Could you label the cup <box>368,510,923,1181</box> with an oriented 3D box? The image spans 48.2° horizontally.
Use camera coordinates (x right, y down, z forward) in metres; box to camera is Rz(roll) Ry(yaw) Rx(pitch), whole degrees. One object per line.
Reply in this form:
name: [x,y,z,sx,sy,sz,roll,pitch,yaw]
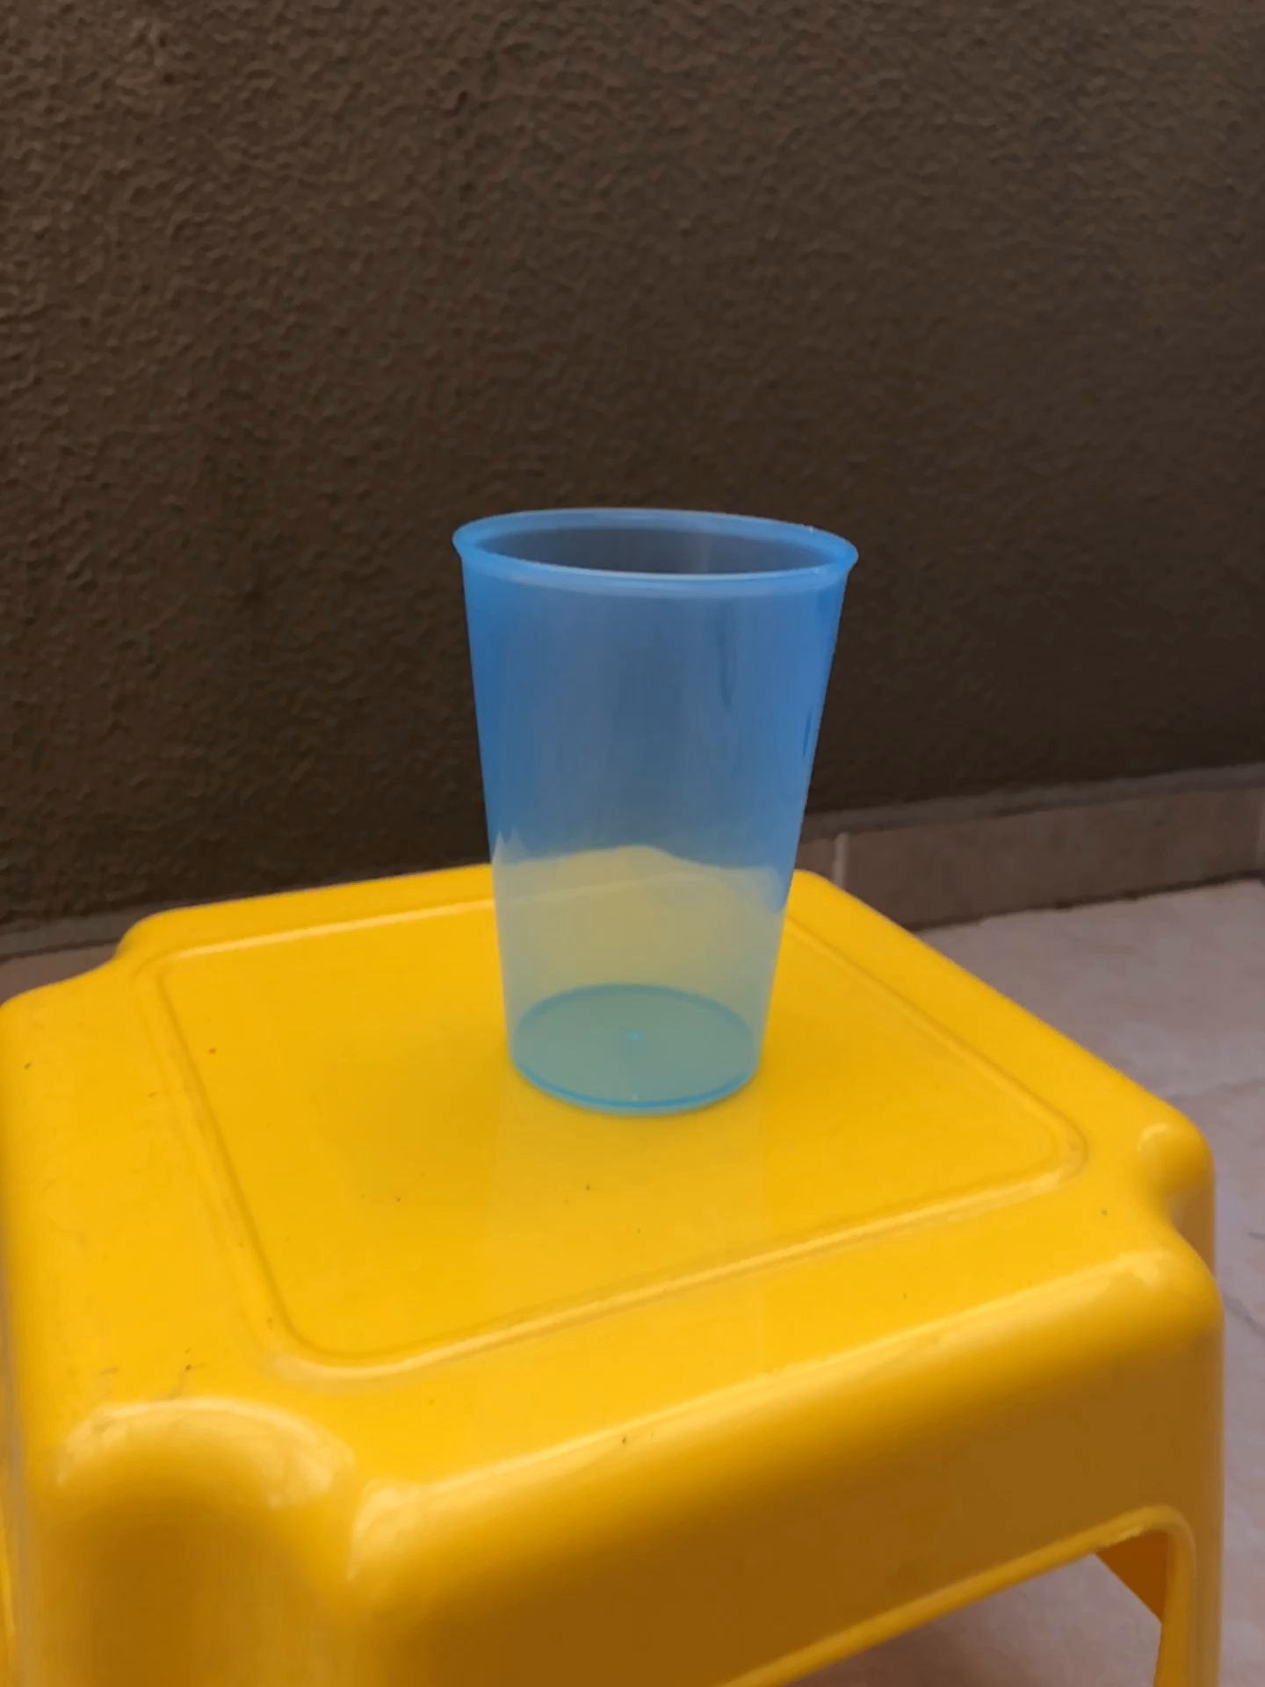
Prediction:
cup: [-0.001,-0.007,0.276,0.070,0.099,0.080,-11,24,-29]
